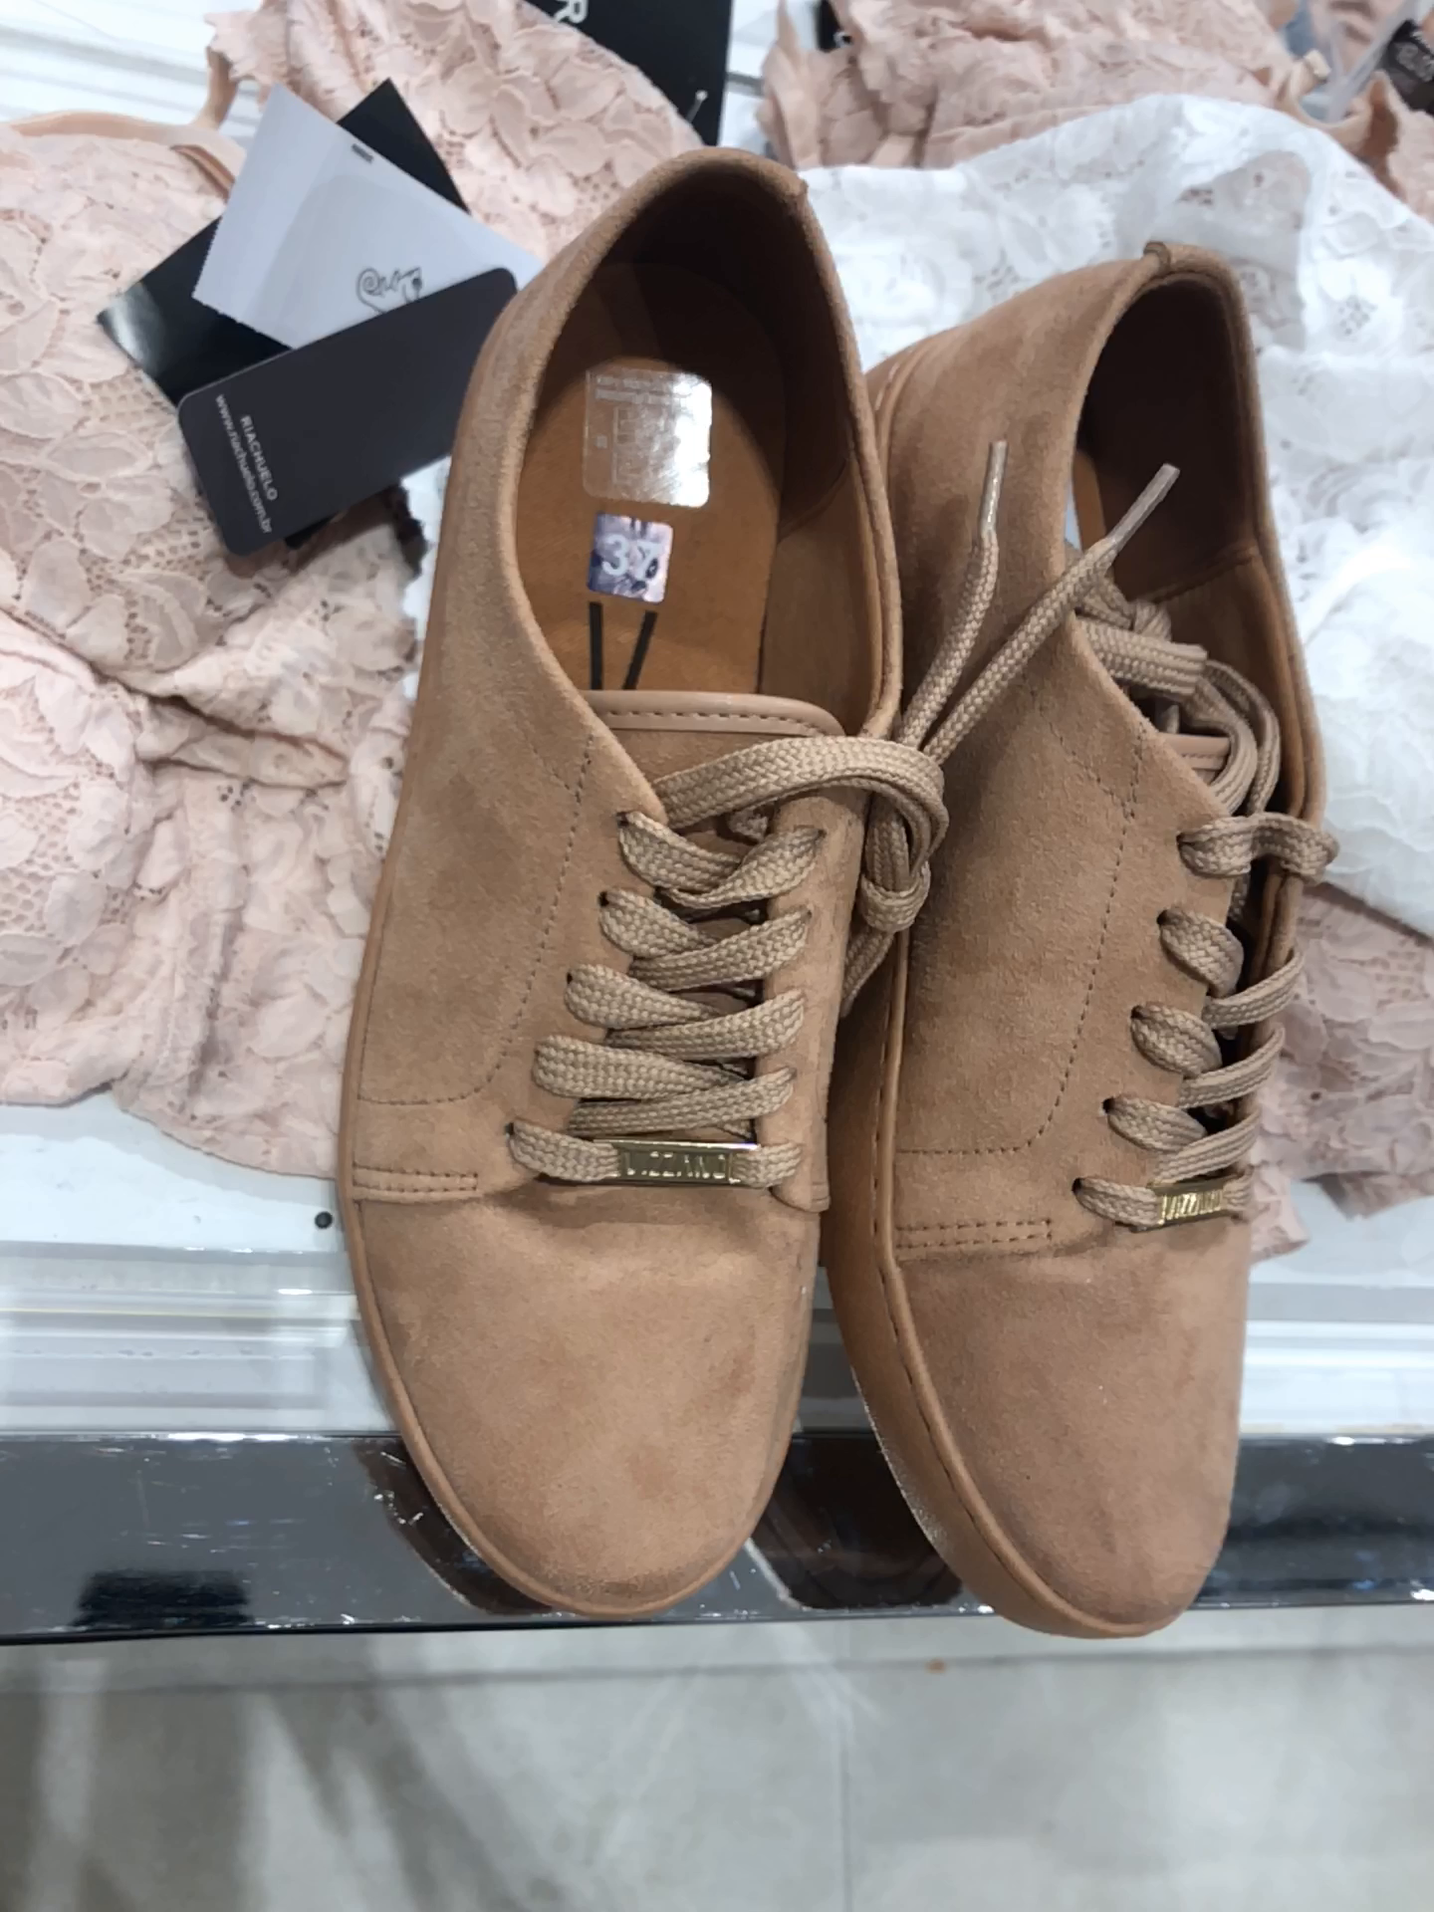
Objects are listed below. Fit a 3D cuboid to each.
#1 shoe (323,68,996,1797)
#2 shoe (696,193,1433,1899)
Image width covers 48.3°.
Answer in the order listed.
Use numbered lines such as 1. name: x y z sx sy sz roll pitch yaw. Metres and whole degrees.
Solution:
1. shoe: -0.016 -0.003 0.282 0.090 0.100 0.240 3 86 -16
2. shoe: 0.071 0.011 0.291 0.090 0.100 0.240 -2 84 -33
